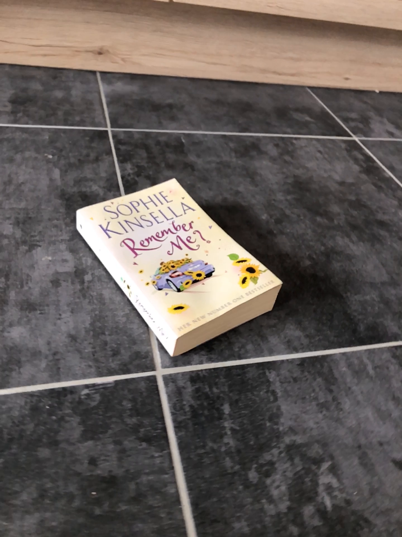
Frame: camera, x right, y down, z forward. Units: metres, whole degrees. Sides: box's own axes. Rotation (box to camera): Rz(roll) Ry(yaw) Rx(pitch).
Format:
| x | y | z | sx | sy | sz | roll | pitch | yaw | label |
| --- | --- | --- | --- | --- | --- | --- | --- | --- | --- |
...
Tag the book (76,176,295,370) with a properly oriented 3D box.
| x | y | z | sx | sy | sz | roll | pitch | yaw | label |
| --- | --- | --- | --- | --- | --- | --- | --- | --- | --- |
| -0.023 | -0.011 | 0.458 | 0.131 | 0.040 | 0.200 | -23 | 52 | -28 | book |
